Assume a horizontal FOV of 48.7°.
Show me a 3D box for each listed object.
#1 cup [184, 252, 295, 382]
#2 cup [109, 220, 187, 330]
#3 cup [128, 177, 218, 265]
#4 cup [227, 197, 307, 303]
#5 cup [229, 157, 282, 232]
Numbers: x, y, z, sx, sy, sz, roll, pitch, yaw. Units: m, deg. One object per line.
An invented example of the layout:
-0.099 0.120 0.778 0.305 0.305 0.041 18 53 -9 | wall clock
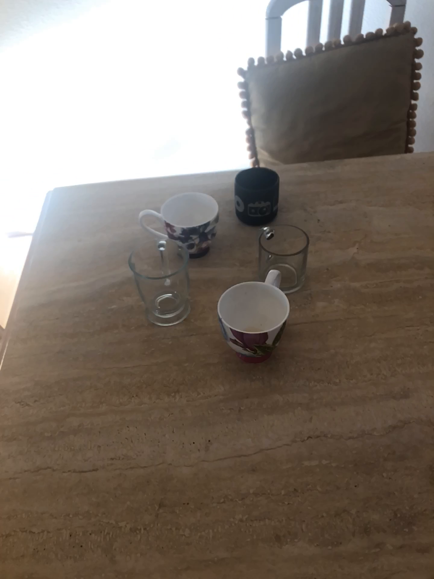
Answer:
0.040 0.038 0.747 0.110 0.099 0.151 18 48 21 | cup
-0.110 -0.026 0.816 0.100 0.119 0.141 -2 44 2 | cup
-0.083 -0.131 0.913 0.150 0.099 0.111 -9 44 -5 | cup
0.086 -0.074 0.870 0.090 0.119 0.131 -18 45 -13 | cup
0.079 -0.201 1.009 0.100 0.089 0.141 -2 44 2 | cup
